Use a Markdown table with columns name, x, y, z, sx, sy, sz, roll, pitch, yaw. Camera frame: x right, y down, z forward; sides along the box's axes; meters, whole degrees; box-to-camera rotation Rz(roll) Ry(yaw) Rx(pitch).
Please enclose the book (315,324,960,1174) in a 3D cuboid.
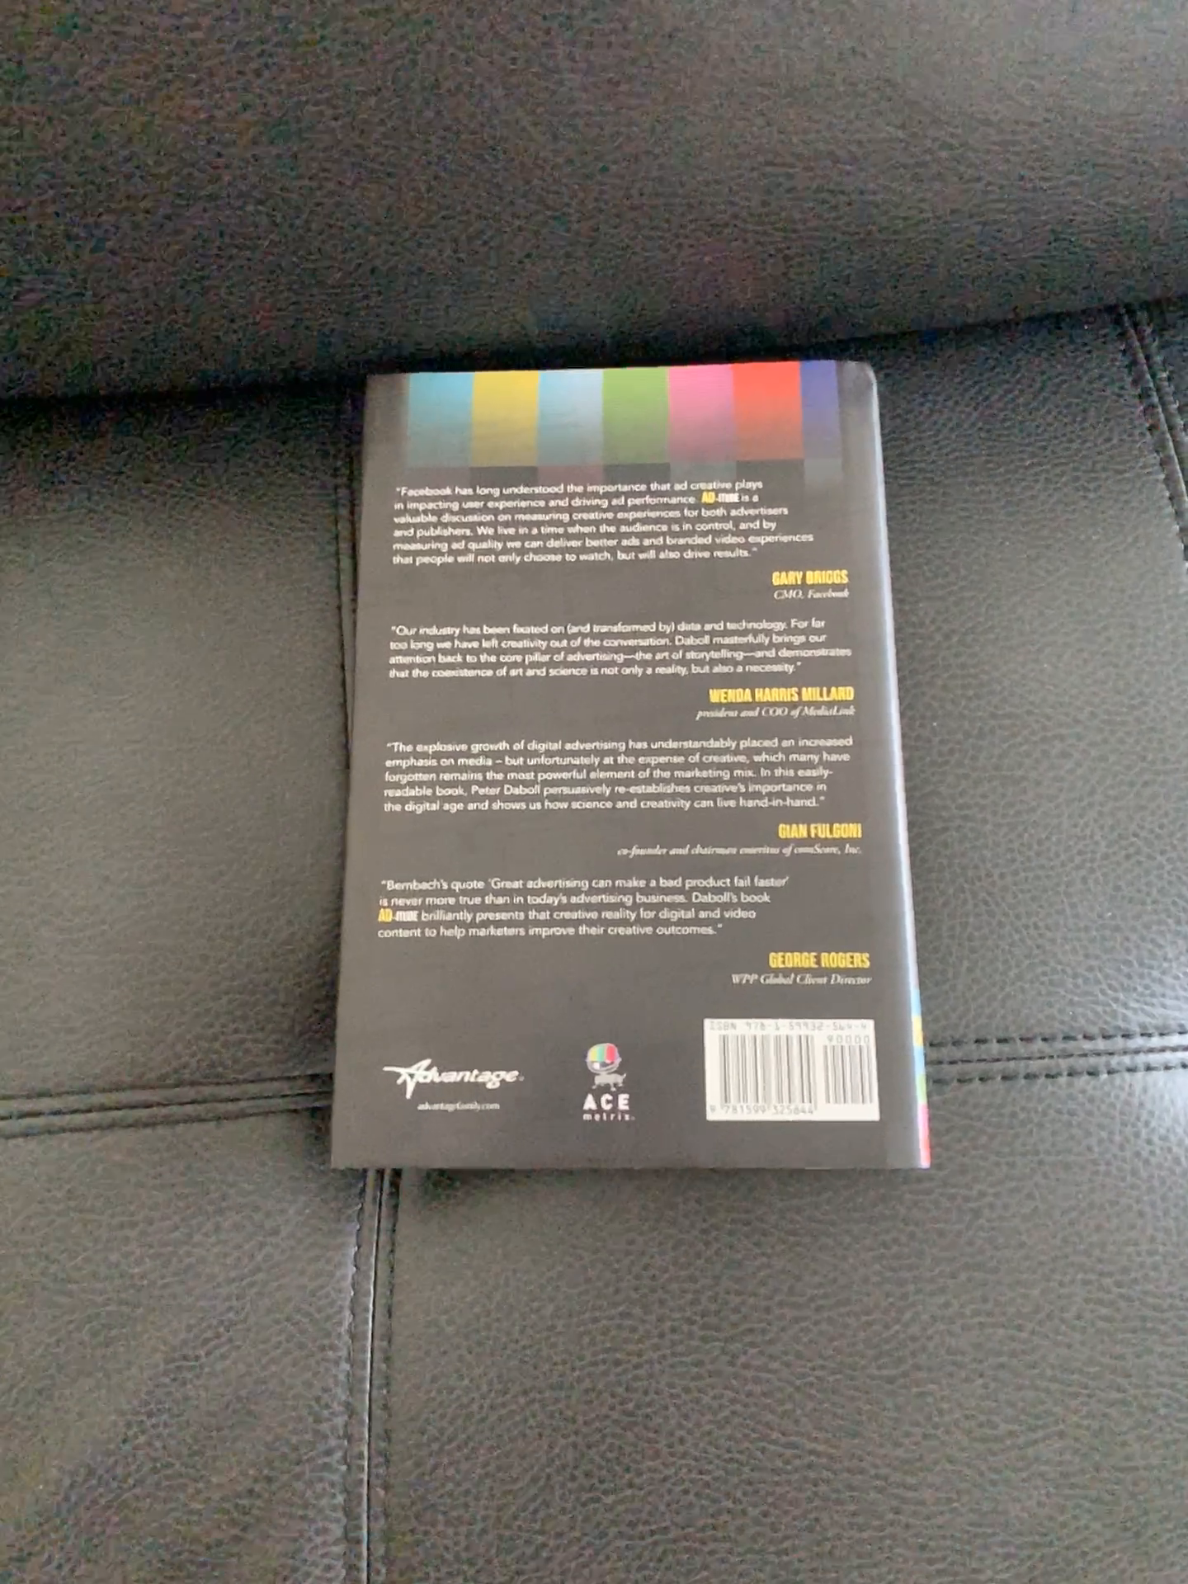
| name | x | y | z | sx | sy | sz | roll | pitch | yaw |
| --- | --- | --- | --- | --- | --- | --- | --- | --- | --- |
| book | 0.010 | -0.017 | 0.347 | 0.160 | 0.030 | 0.236 | -1 | 76 | 3 |
